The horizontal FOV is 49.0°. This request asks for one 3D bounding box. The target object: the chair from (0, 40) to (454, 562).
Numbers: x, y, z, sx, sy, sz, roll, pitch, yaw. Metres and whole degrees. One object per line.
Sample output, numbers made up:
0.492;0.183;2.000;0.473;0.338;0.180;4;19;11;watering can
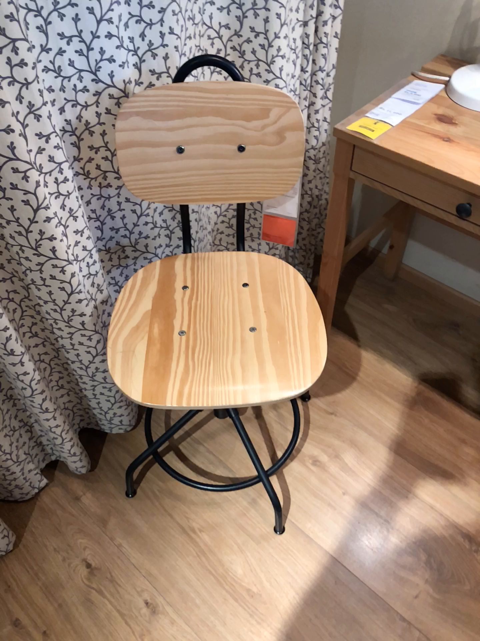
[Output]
-0.054;0.019;1.007;0.520;0.815;0.553;-4;48;-1;chair
